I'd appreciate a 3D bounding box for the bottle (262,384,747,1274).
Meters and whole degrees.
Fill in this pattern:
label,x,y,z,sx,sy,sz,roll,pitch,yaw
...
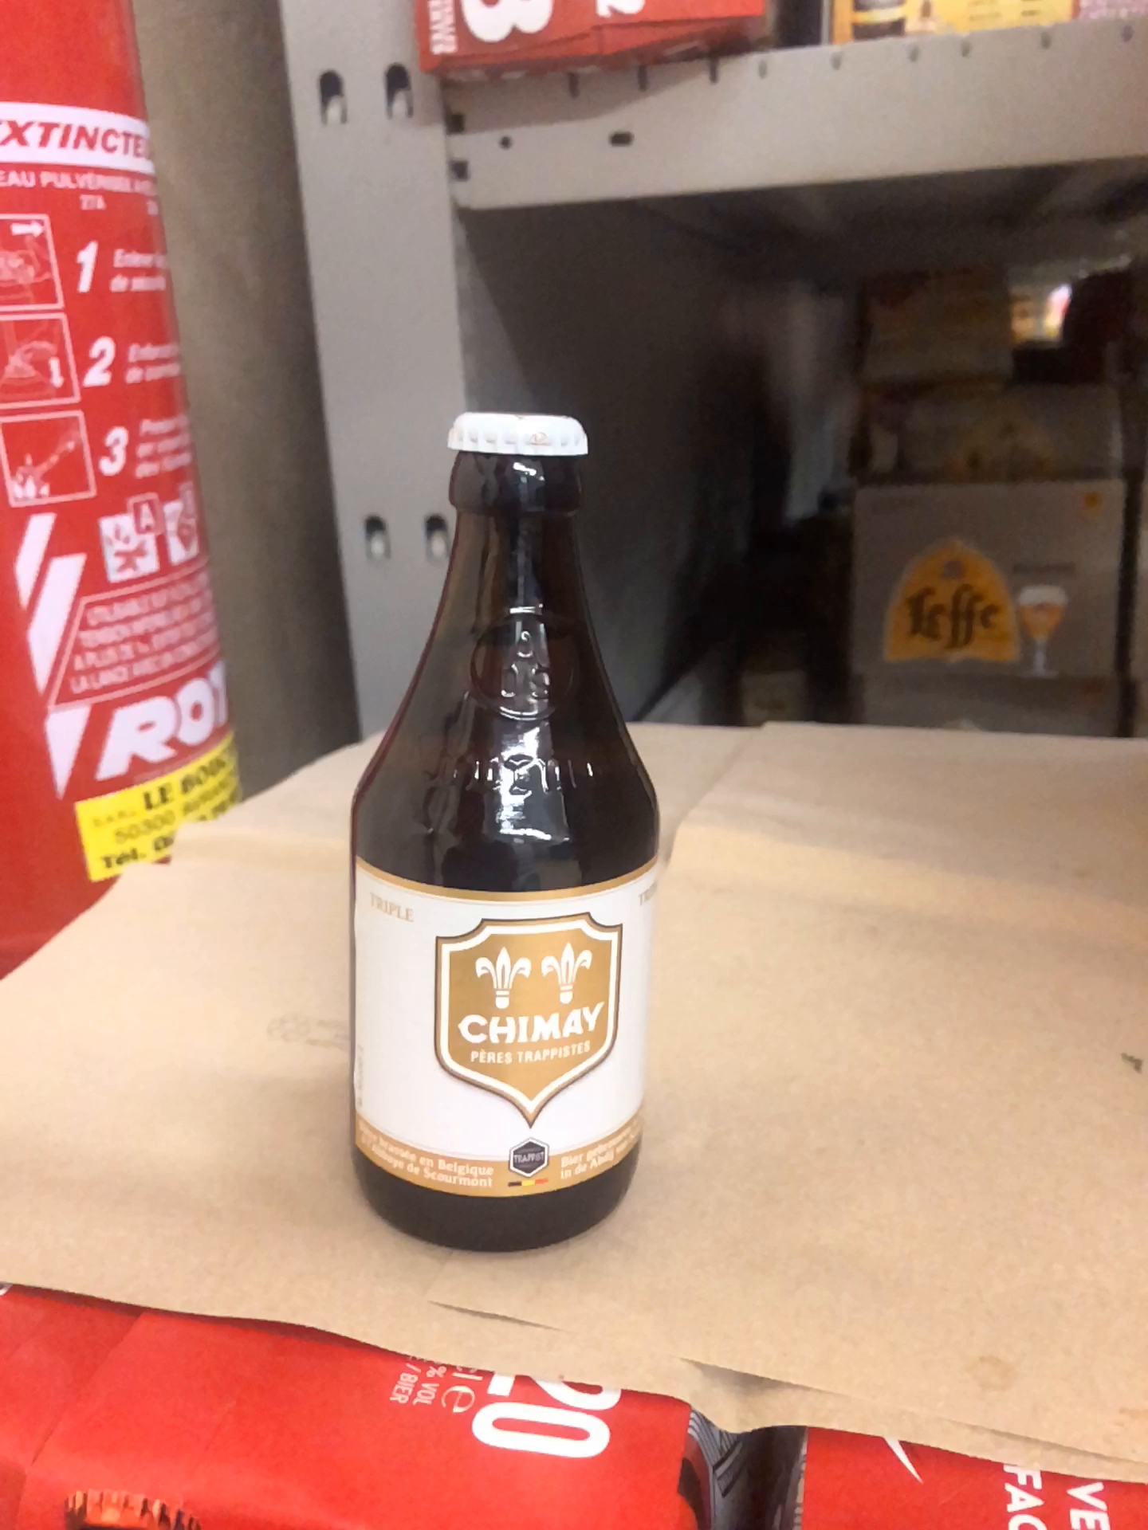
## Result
label,x,y,z,sx,sy,sz,roll,pitch,yaw
bottle,-0.015,0.009,0.268,0.080,0.169,0.070,-1,17,-6
